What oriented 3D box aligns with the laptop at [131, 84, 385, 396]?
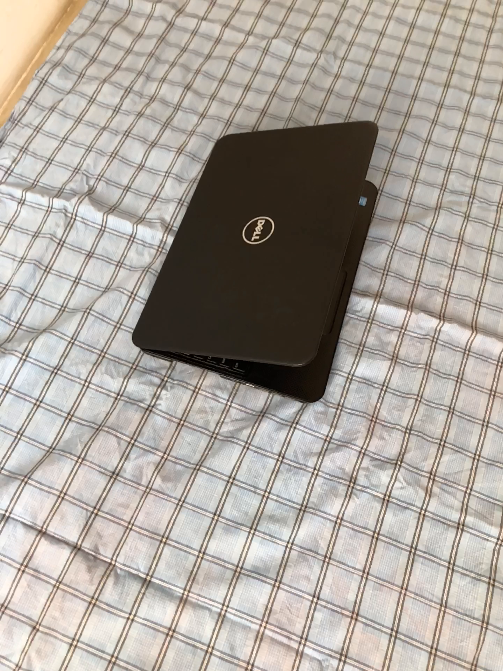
[{"bbox_3d":[0.022,-0.132,0.712,0.223,0.099,0.351,16,66,4],"label":"laptop"}]
